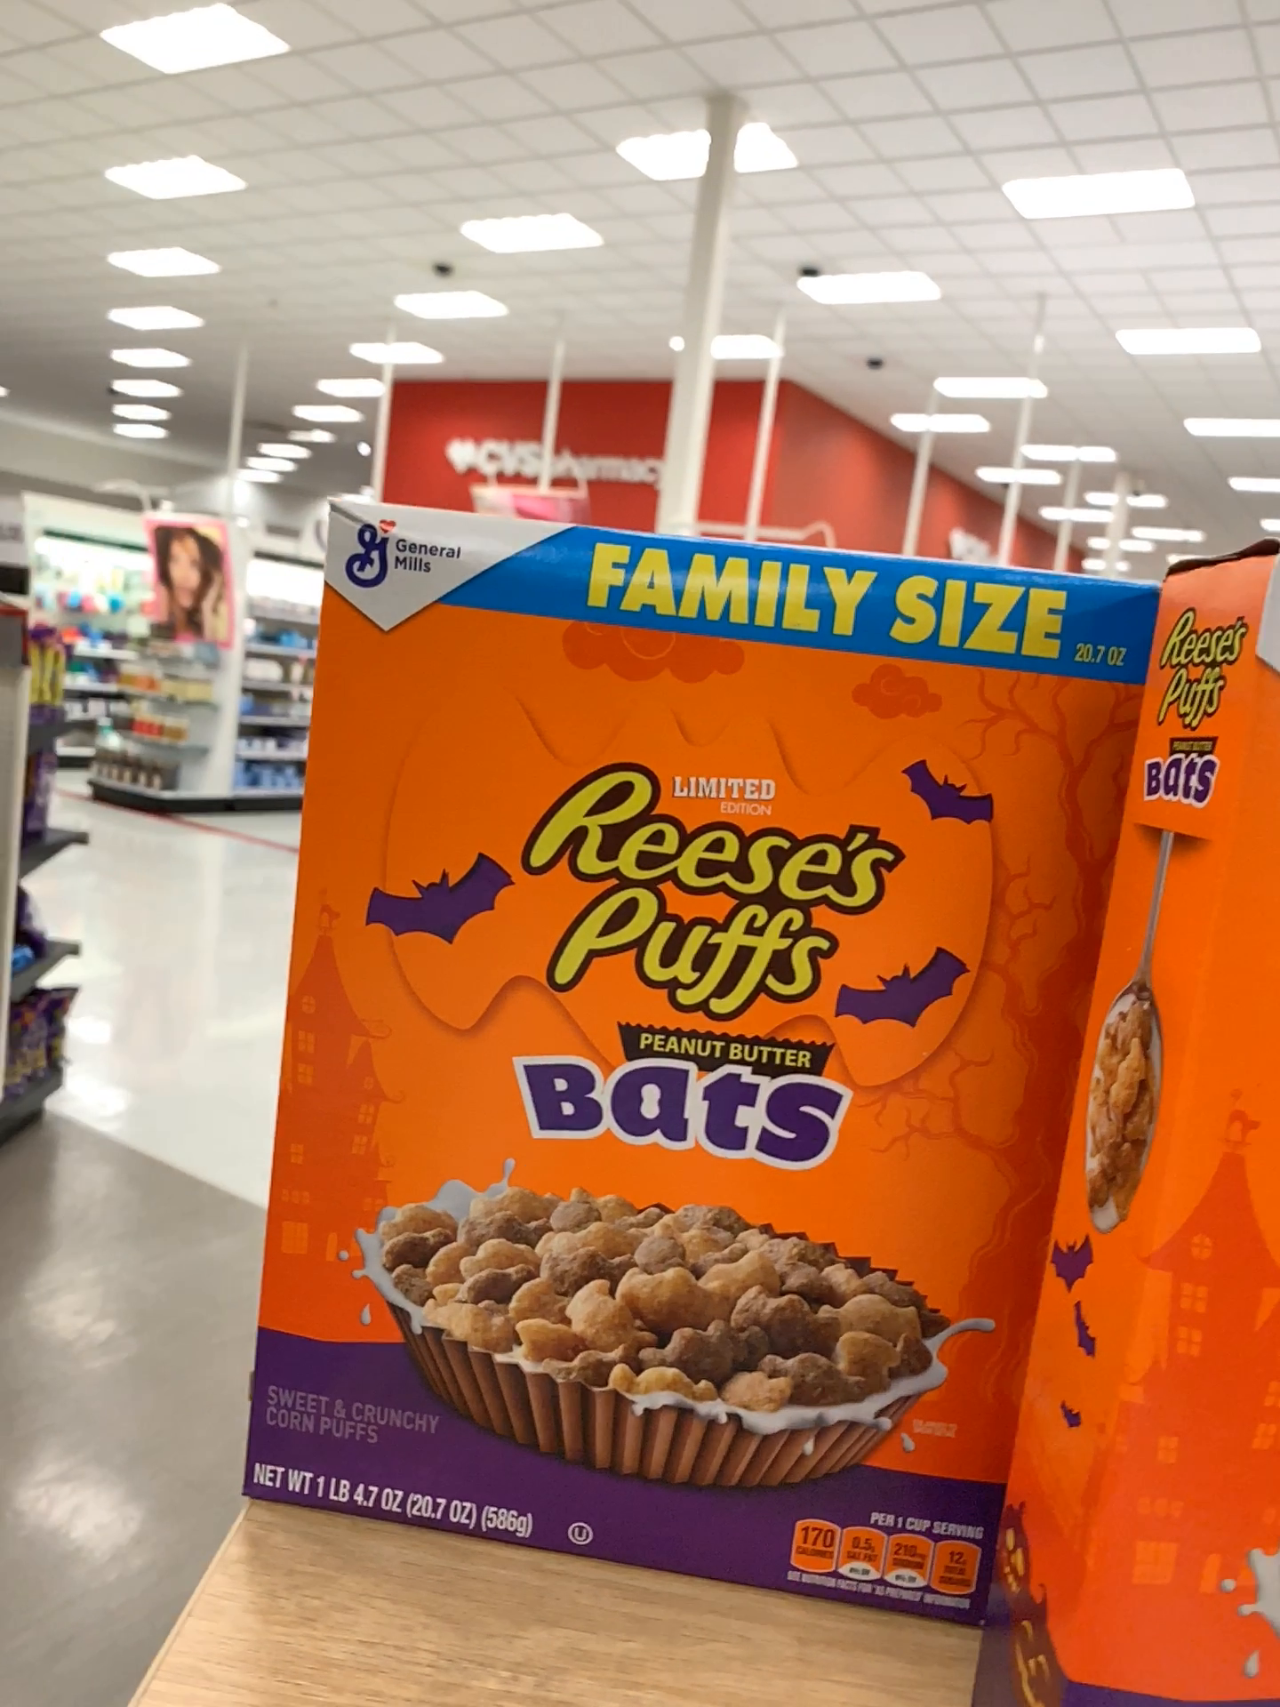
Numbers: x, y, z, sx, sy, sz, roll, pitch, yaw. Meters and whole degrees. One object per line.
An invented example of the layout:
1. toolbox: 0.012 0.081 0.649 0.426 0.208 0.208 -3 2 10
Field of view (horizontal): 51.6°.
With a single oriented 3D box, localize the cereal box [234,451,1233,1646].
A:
1. cereal box: 0.019 0.055 0.405 0.240 0.309 0.070 8 7 4
